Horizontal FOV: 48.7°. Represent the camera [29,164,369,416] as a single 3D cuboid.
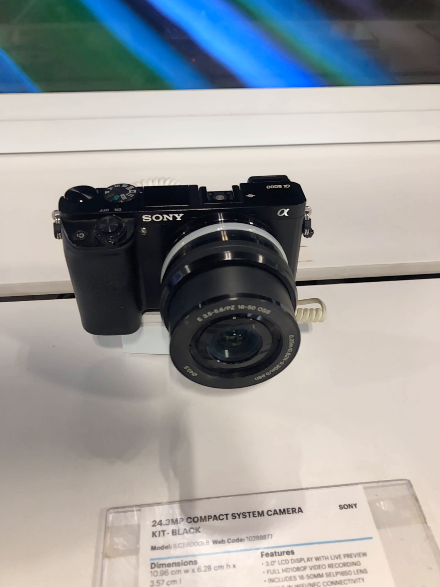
[{"bbox_3d":[-0.012,-0.007,0.246,0.130,0.070,0.101,-4,41,-5],"label":"camera"}]
